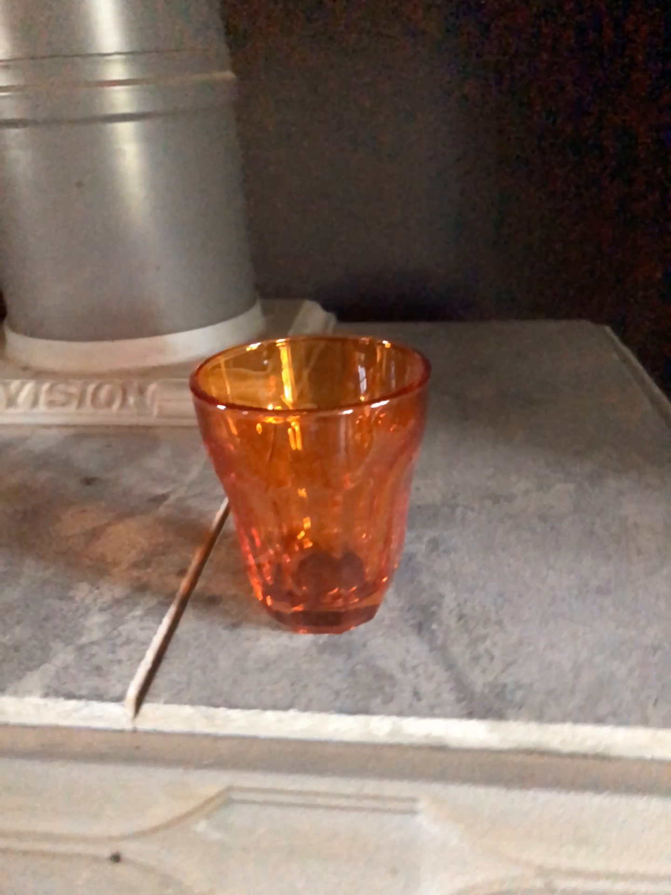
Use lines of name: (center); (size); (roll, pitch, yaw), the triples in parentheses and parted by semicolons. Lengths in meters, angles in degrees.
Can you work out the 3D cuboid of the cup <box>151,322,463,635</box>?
cup: (-0.003, 0.006, 0.240); (0.080, 0.070, 0.080); (-3, 25, 1)
